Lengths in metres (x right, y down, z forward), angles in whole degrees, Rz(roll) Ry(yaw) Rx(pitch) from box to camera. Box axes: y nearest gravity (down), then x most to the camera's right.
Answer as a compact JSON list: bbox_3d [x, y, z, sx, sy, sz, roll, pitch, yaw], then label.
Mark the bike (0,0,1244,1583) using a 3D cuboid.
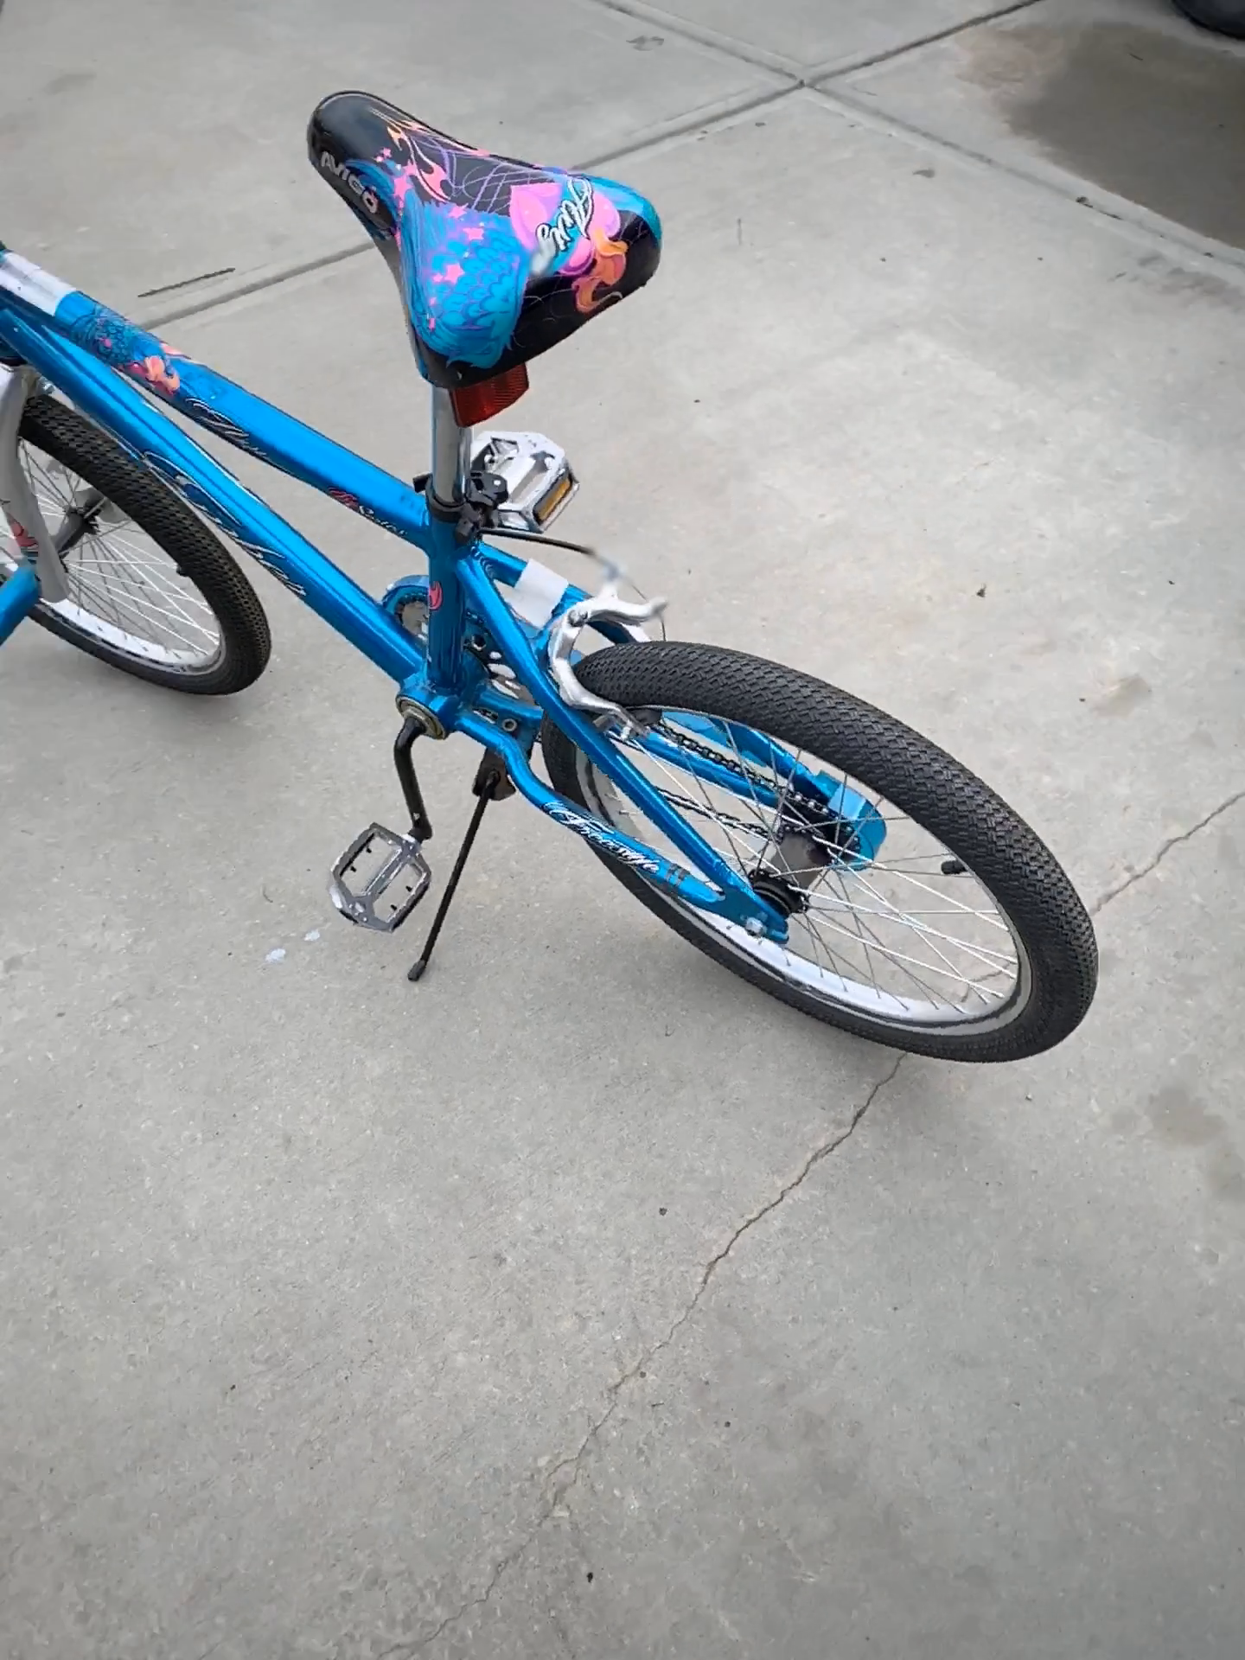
[{"bbox_3d":[-0.298,-0.188,1.021,1.385,0.837,0.683,25,56,20],"label":"bike"}]
